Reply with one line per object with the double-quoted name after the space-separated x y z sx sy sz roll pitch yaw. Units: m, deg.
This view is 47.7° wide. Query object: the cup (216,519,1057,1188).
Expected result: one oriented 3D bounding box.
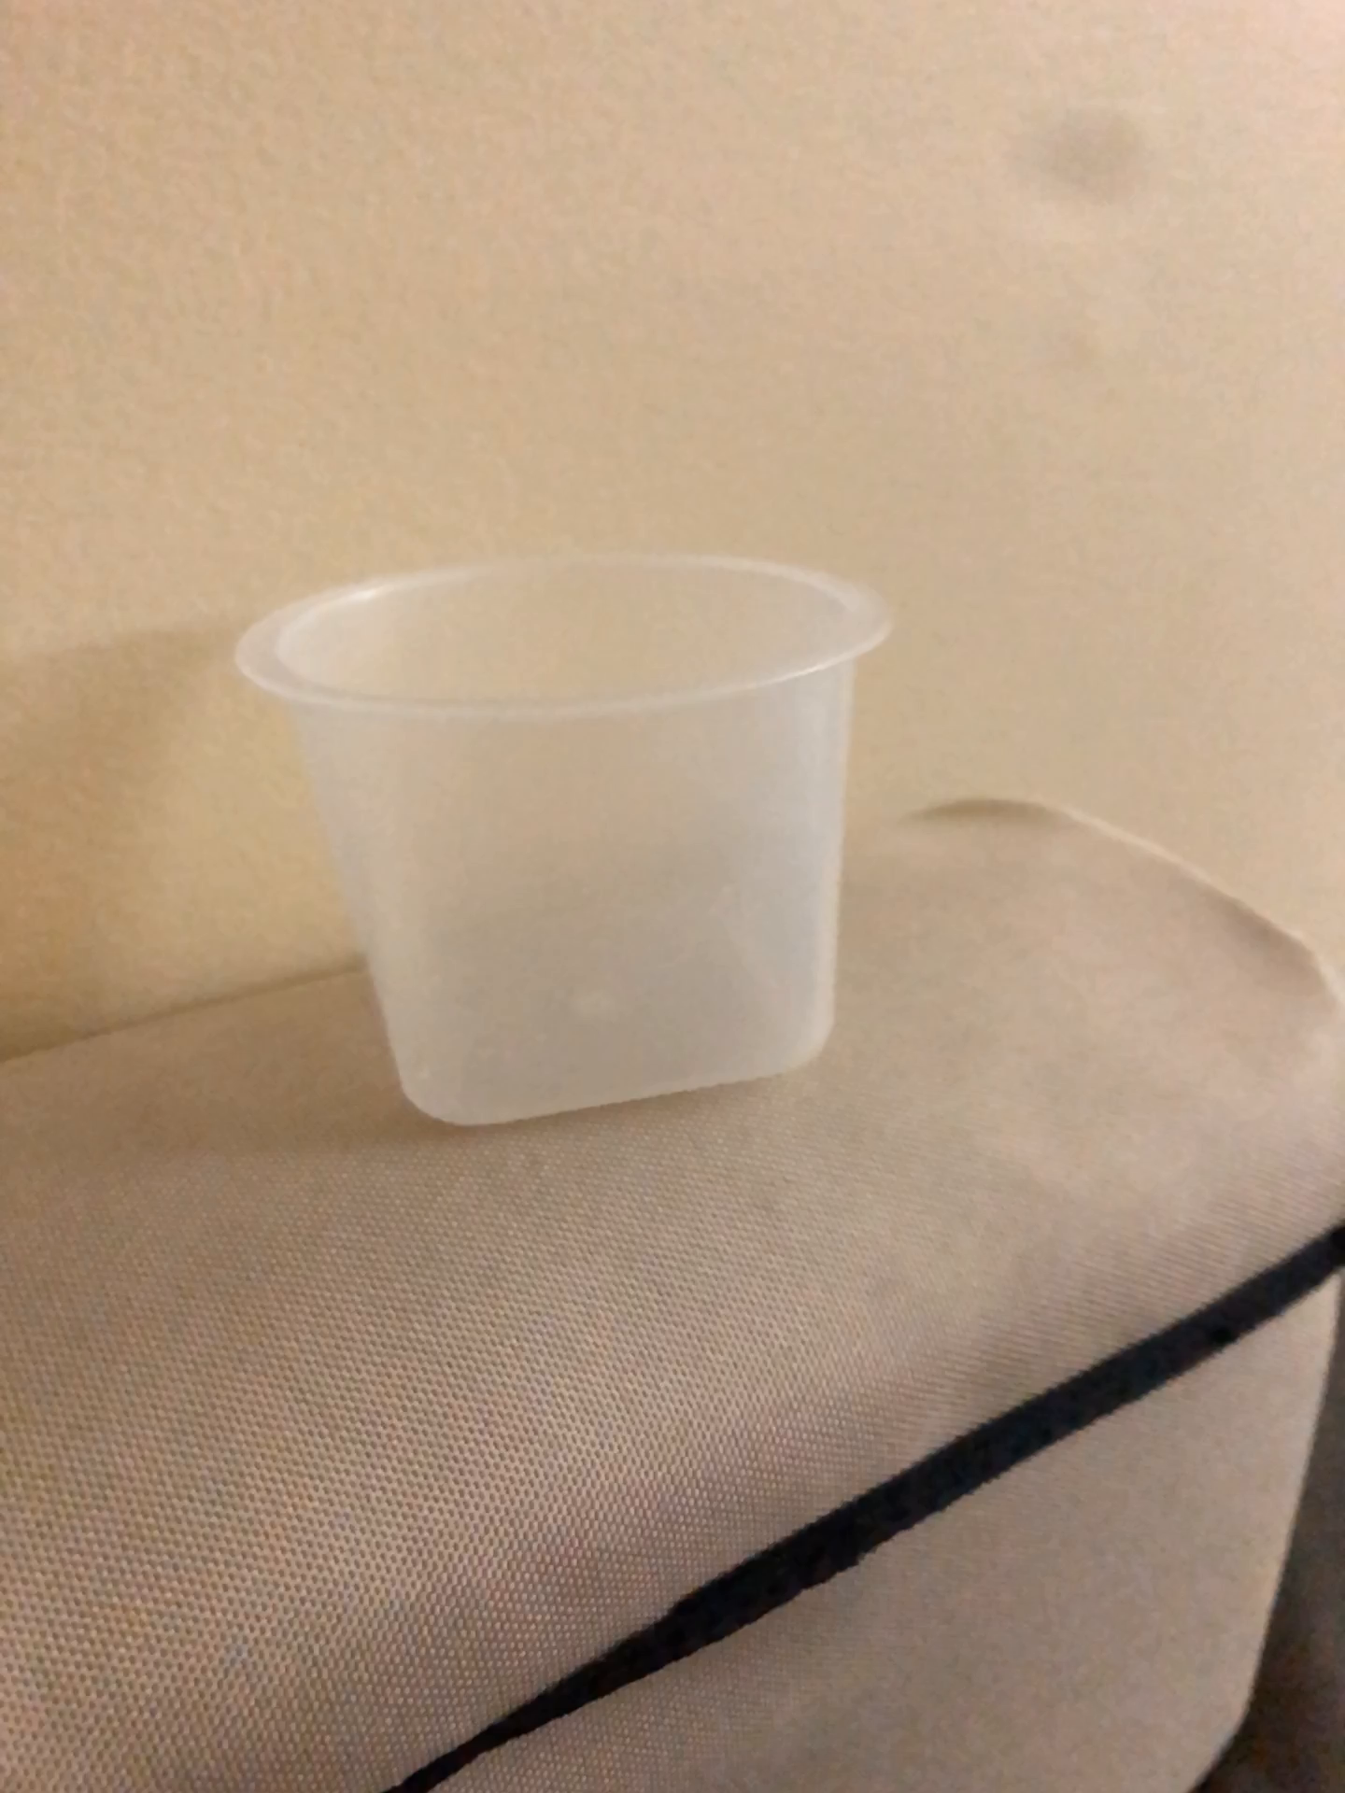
-0.010 -0.013 0.190 0.080 0.046 0.076 0 26 0 "cup"
